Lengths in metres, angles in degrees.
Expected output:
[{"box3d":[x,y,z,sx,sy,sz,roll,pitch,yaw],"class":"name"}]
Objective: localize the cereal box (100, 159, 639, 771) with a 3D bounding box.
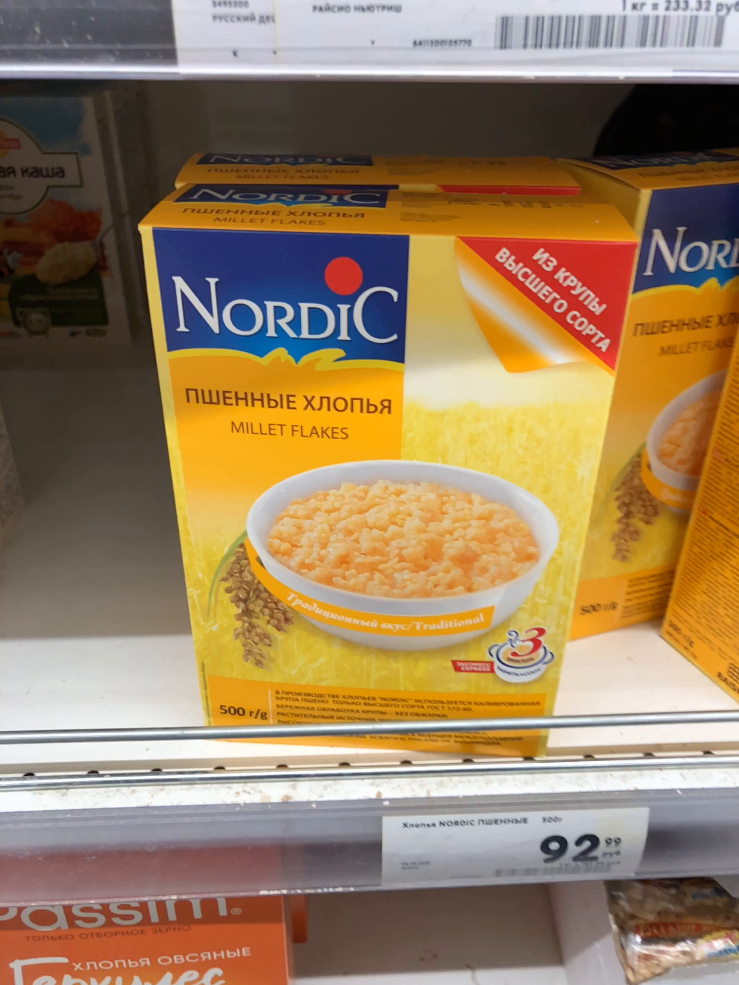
[{"box3d":[0.000,-0.001,0.293,0.140,0.209,0.060,3,32,4],"class":"cereal box"}]
